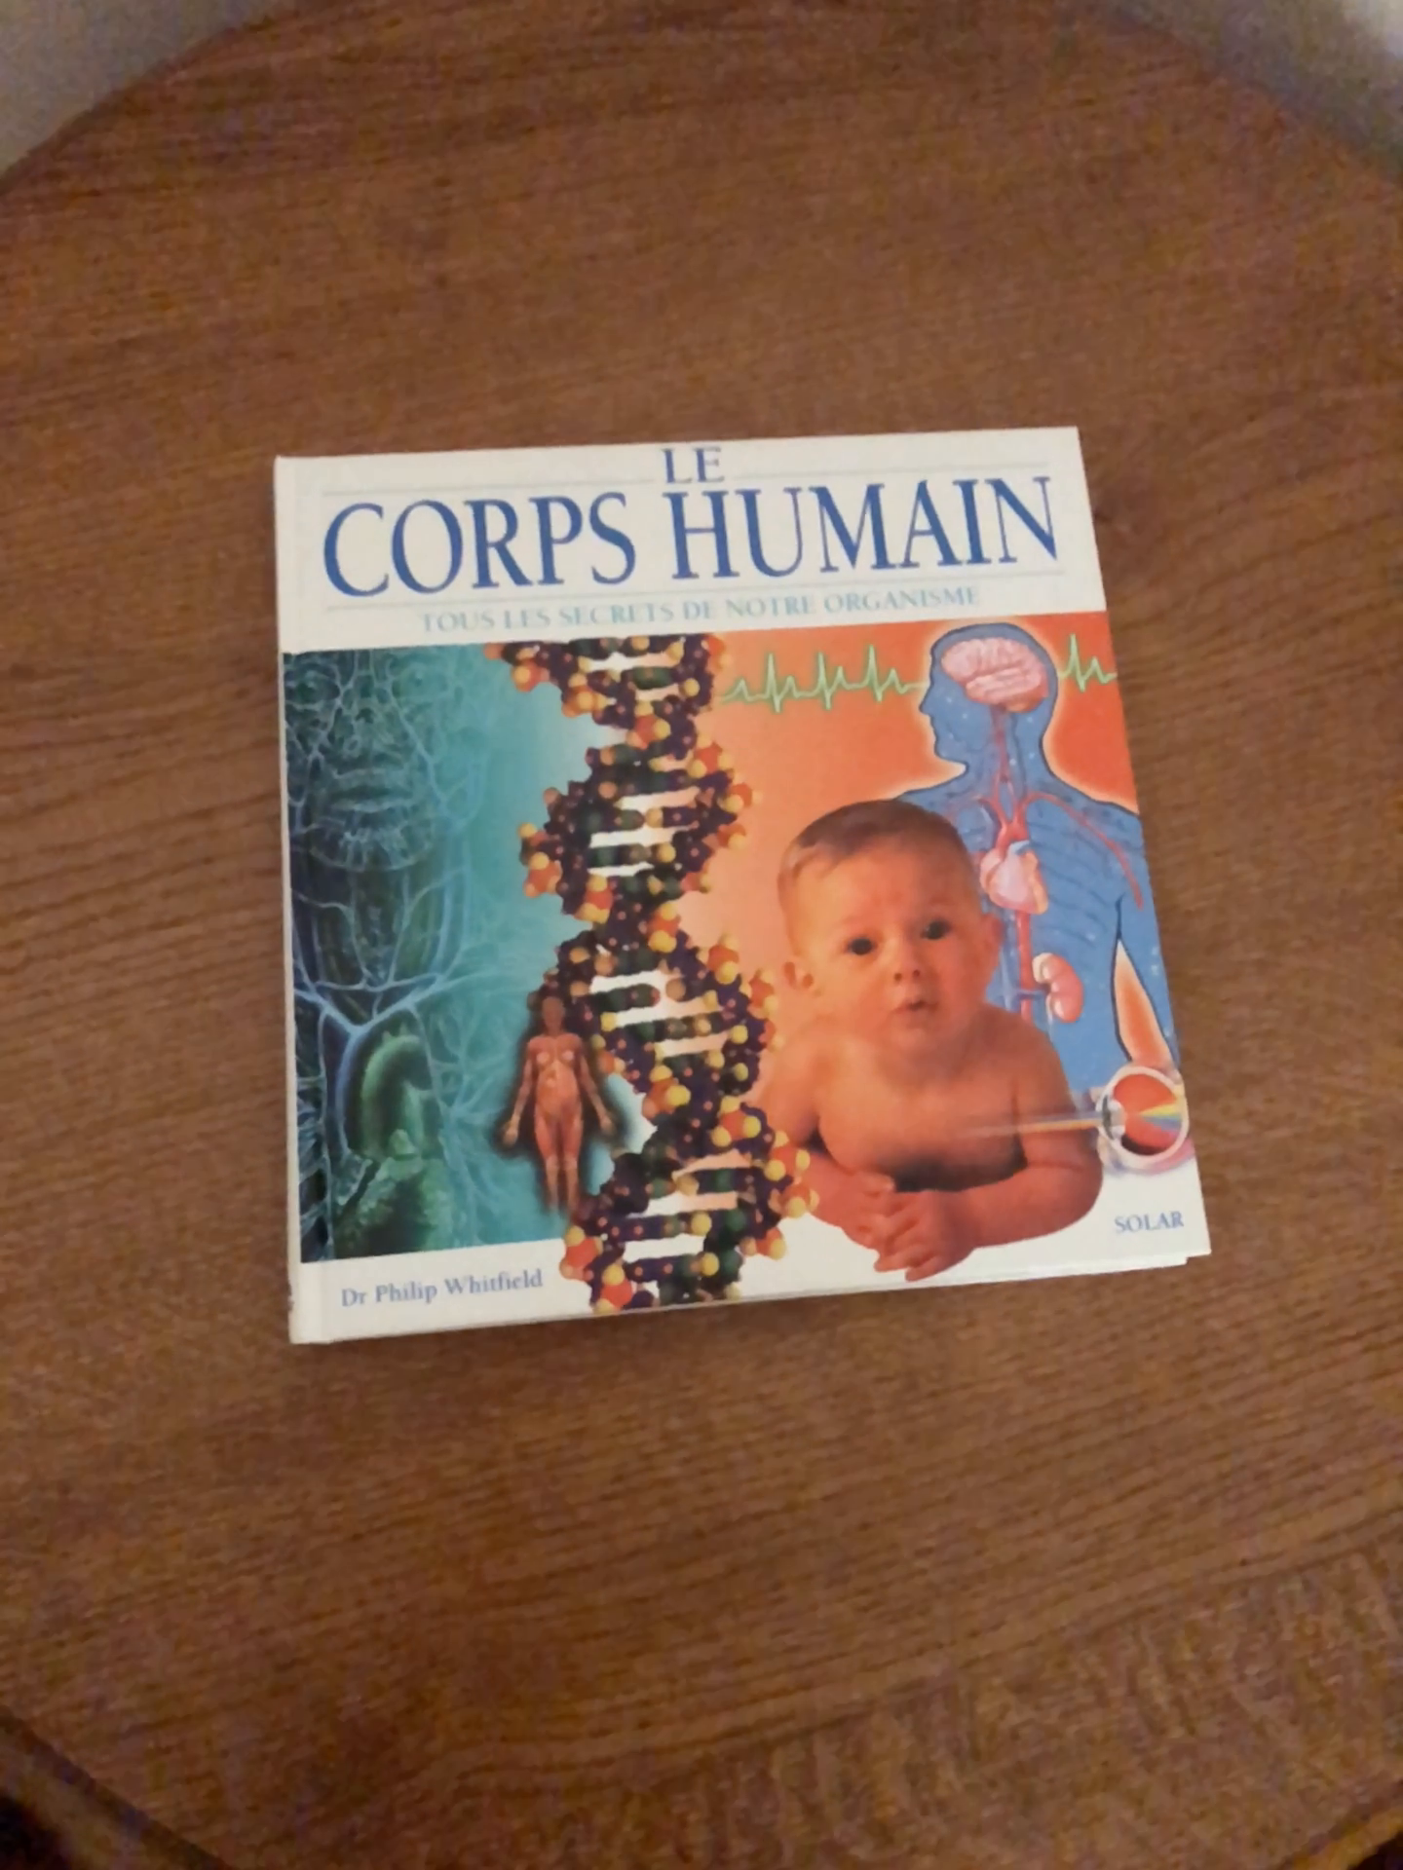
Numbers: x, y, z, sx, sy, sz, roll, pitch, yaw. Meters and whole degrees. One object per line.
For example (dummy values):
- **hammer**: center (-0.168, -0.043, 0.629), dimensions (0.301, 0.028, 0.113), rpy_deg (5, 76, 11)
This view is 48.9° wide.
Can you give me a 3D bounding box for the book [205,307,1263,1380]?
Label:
- **book**: center (0.002, -0.035, 0.452), dimensions (0.270, 0.040, 0.290), rpy_deg (-5, 79, -5)
